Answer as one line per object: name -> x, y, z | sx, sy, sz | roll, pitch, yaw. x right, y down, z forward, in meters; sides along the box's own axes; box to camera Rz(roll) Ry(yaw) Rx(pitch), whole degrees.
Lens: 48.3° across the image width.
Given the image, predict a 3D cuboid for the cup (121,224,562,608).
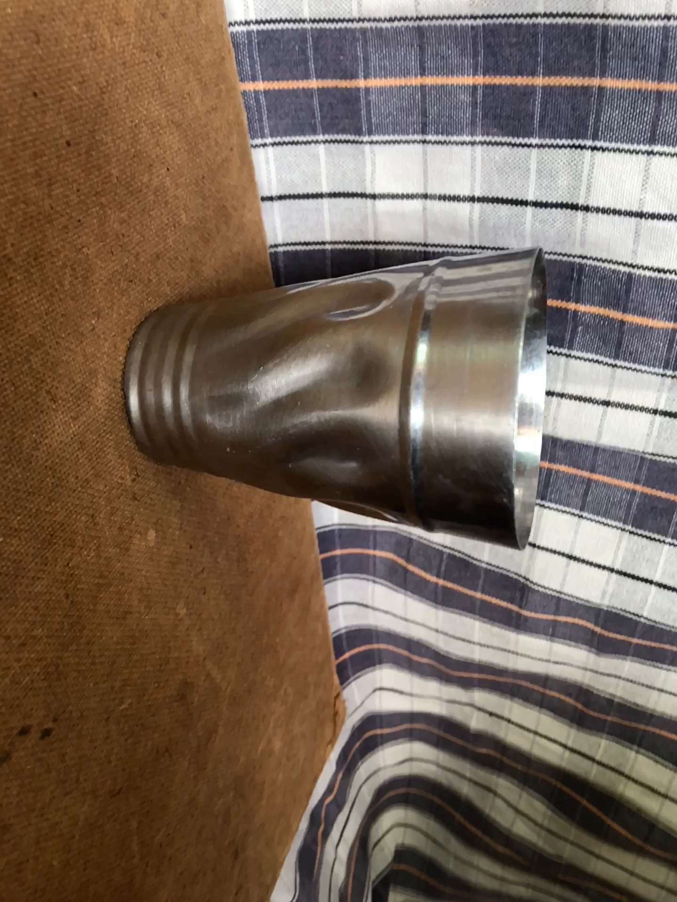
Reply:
cup -> 0.007, -0.012, 0.210 | 0.080, 0.099, 0.080 | 3, 90, -72
